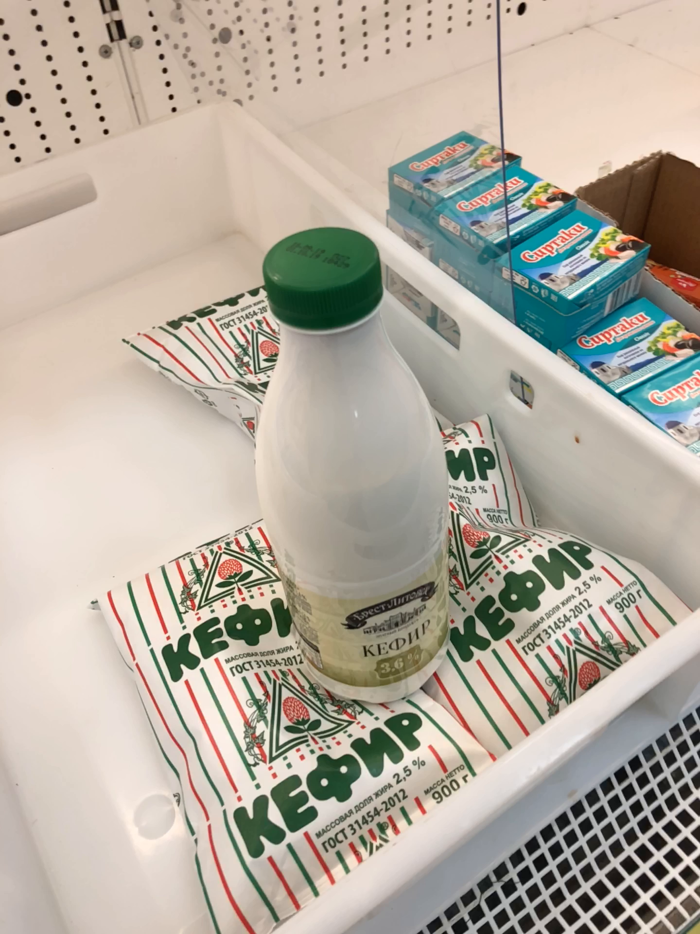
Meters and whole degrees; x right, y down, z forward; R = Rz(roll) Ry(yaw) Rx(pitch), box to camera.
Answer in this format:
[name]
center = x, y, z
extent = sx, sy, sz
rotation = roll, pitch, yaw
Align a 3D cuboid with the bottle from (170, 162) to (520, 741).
[bottle]
center = 0.001, 0.018, 0.352
extent = 0.090, 0.269, 0.090
rotation = -2, 50, 2
